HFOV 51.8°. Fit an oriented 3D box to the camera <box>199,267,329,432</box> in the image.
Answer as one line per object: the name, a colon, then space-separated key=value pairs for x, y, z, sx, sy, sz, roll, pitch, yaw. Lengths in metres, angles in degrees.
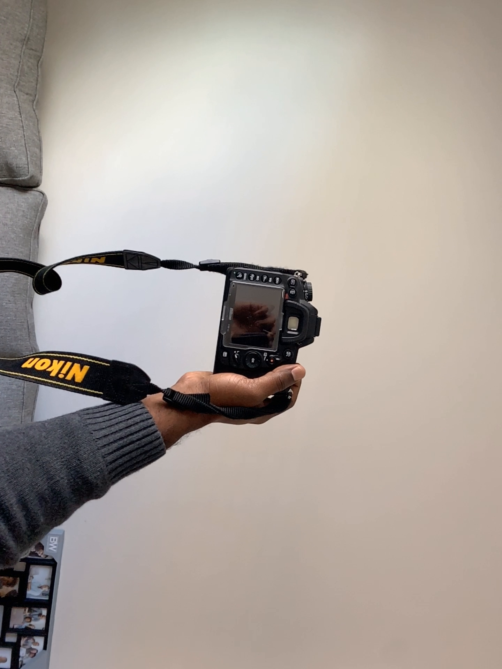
camera: x=0.011 y=0.014 z=0.635 sx=0.170 sy=0.114 sz=0.160 roll=-141 pitch=-119 yaw=-87
